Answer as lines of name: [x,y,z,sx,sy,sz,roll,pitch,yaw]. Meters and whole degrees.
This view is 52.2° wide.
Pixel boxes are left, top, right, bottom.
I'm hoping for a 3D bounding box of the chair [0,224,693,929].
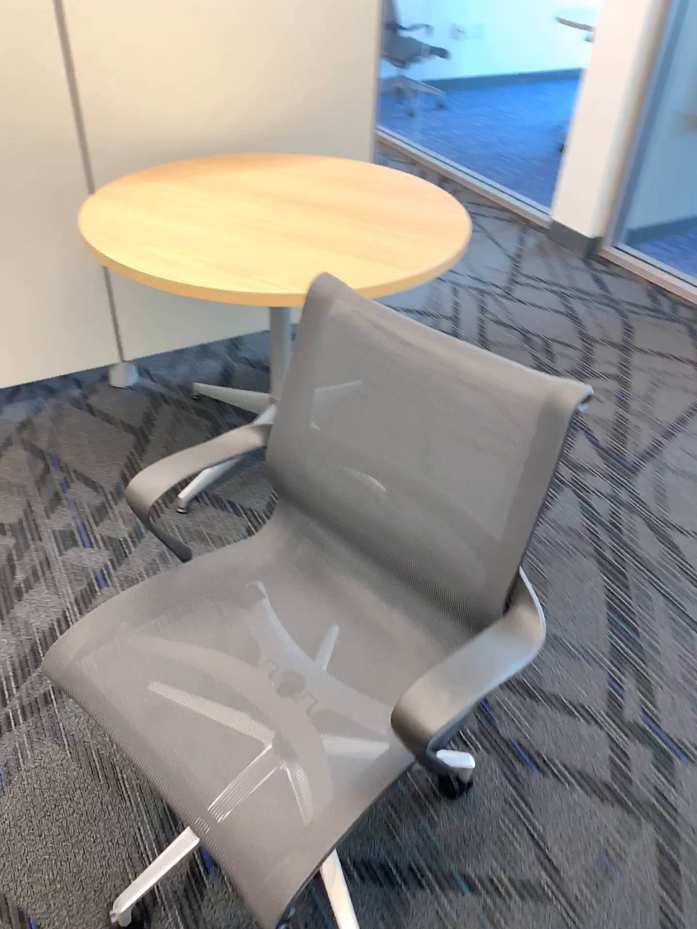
chair: [-0.134,0.232,0.943,0.683,0.753,0.704,30,45,30]
